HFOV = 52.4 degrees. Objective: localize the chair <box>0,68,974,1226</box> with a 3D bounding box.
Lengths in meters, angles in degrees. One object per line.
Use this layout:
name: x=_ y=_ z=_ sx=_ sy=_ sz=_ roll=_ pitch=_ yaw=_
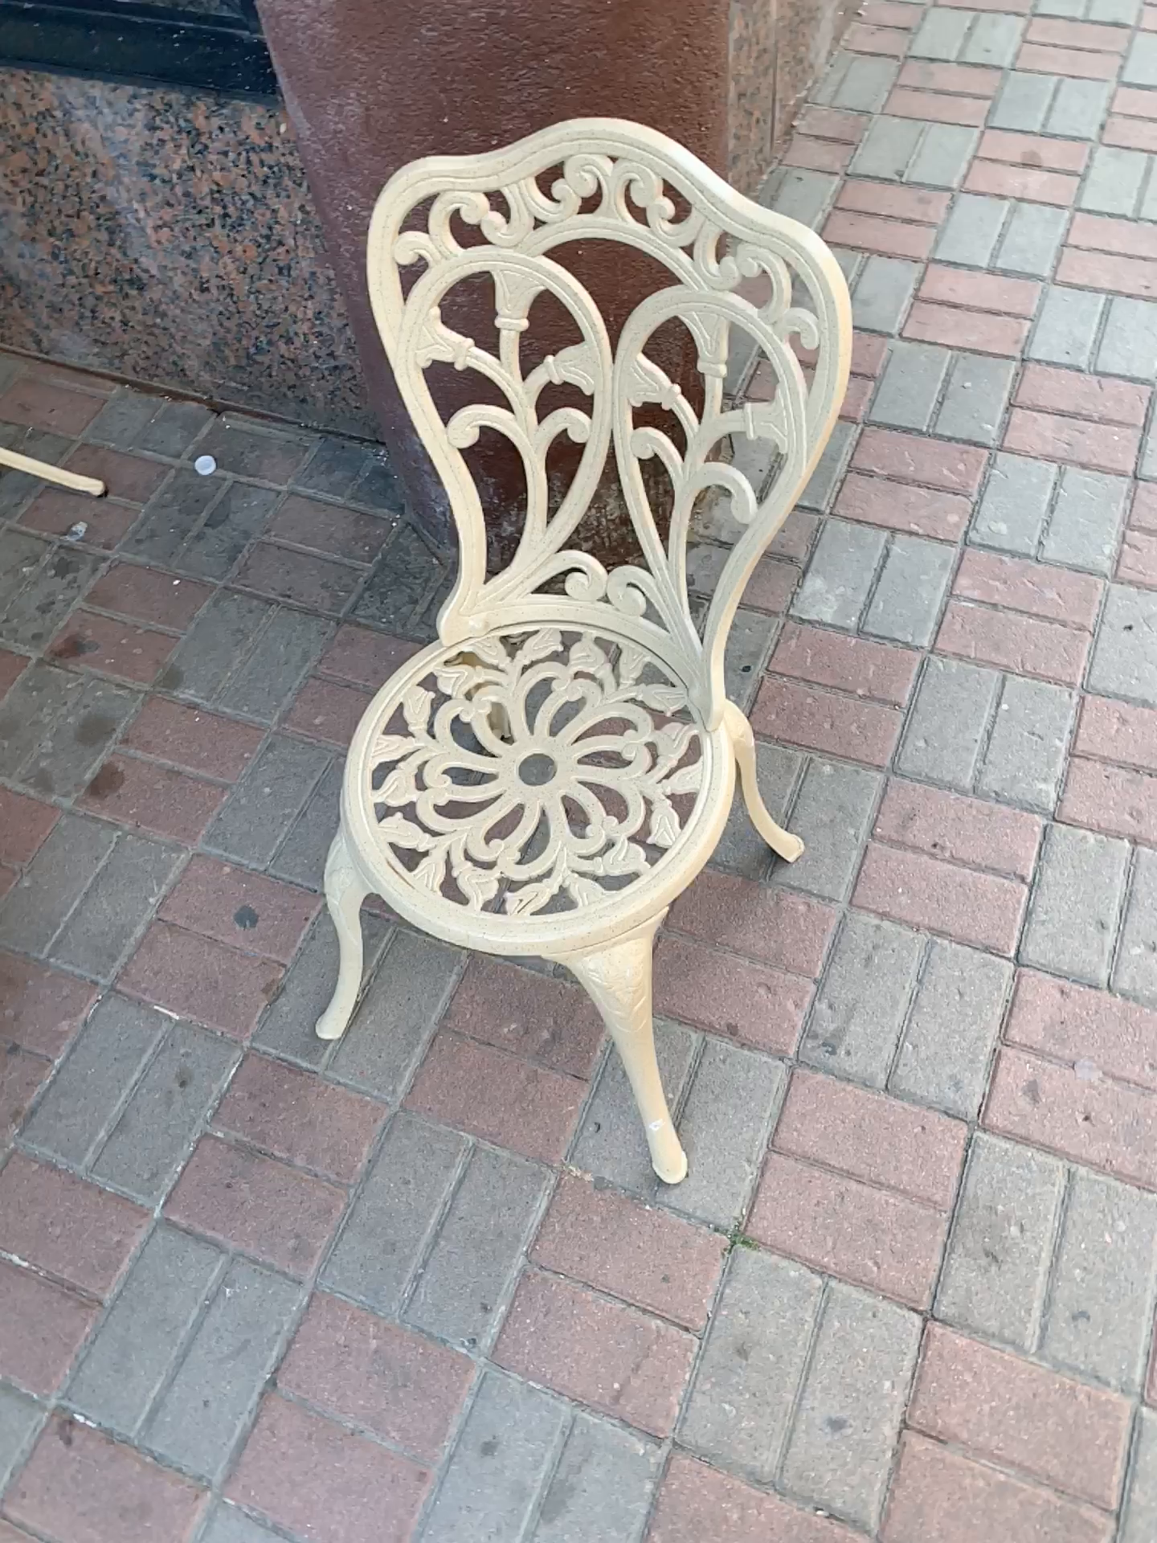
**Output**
chair: x=-0.035 y=-0.041 z=1.051 sx=0.481 sy=0.798 sz=0.551 roll=18 pitch=61 yaw=16
